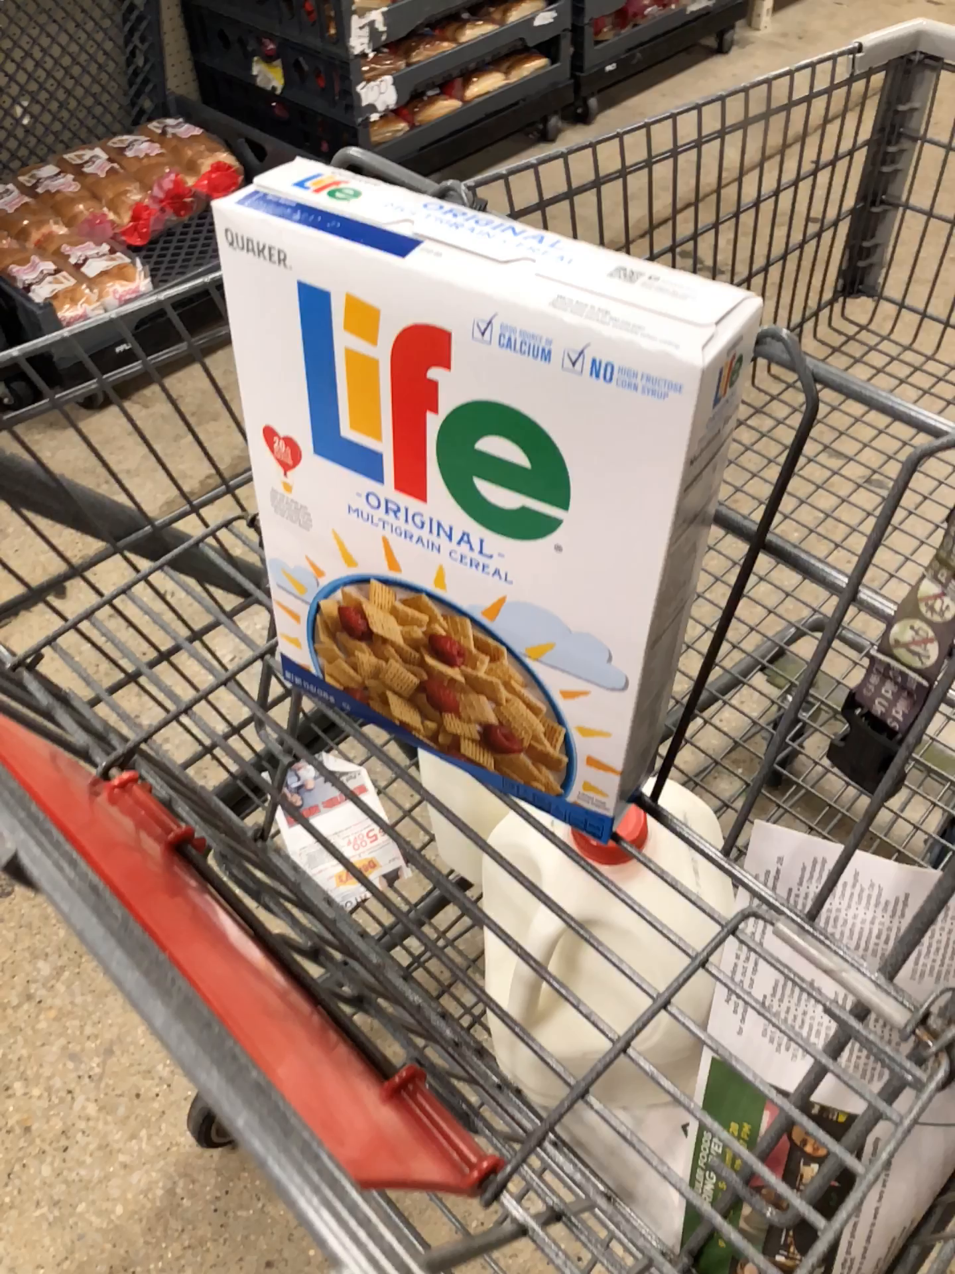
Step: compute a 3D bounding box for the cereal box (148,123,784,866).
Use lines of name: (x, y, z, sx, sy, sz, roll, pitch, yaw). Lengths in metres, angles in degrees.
cereal box: (-0.012, -0.044, 0.406, 0.200, 0.240, 0.050, 26, 50, 22)
